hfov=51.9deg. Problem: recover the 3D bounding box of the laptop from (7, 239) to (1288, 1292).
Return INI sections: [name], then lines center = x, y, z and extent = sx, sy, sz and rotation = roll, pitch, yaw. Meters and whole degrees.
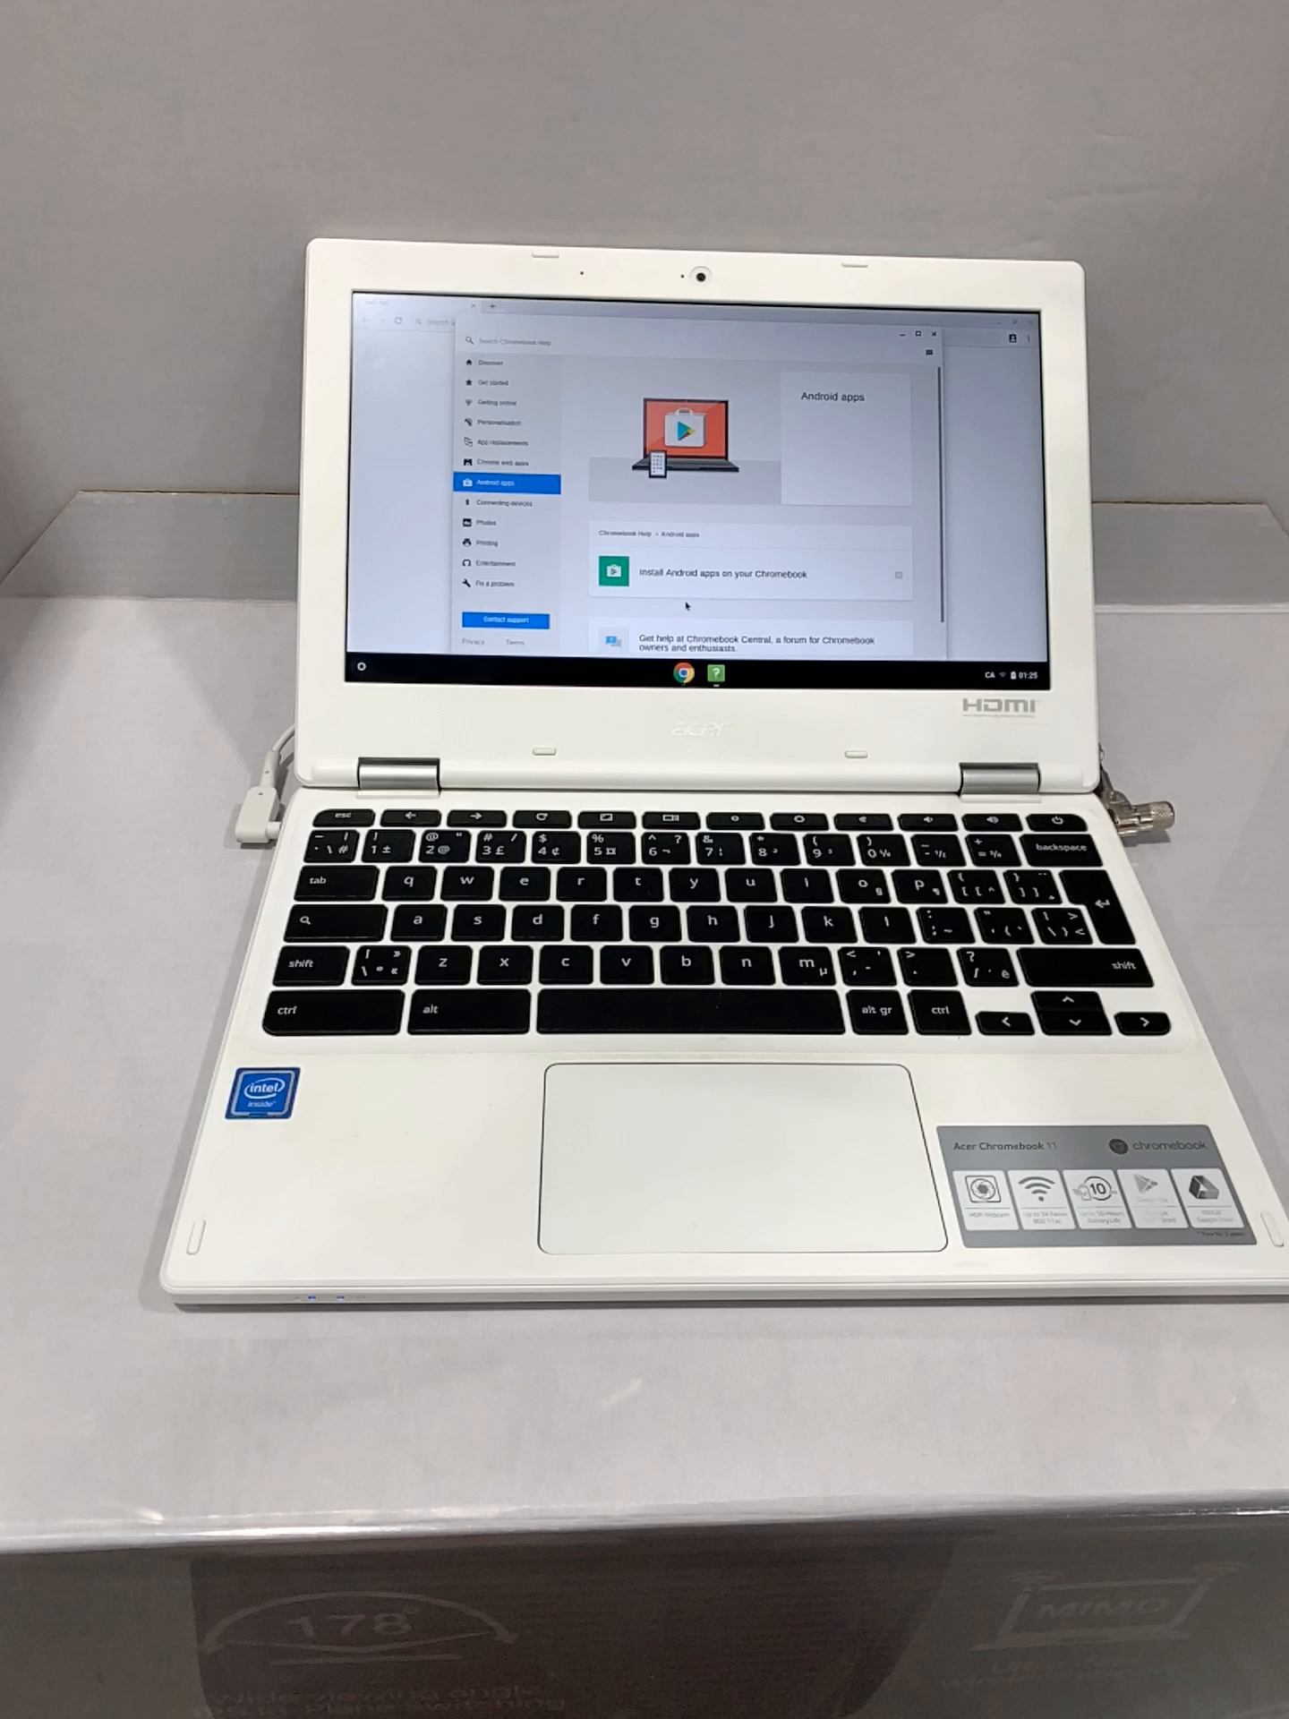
[laptop]
center = 0.023, -0.057, 0.403
extent = 0.282, 0.132, 0.330
rotation = 0, 43, -2
